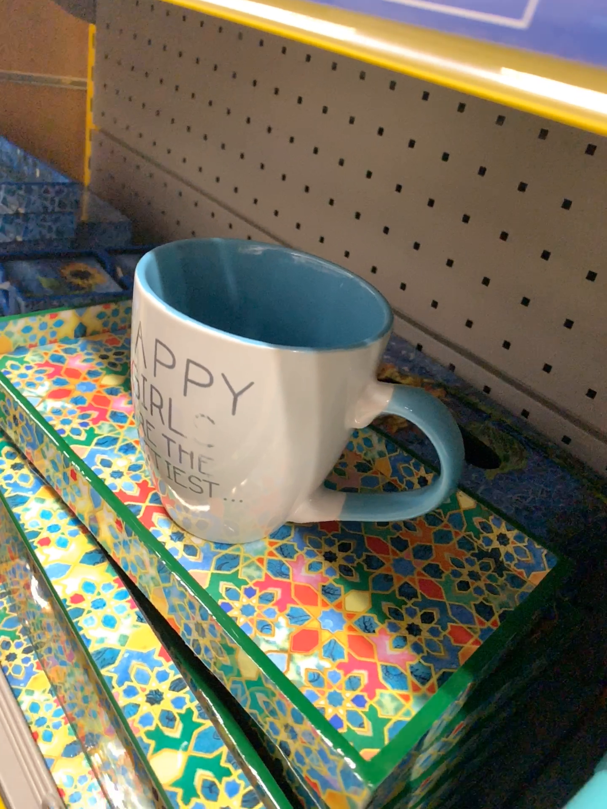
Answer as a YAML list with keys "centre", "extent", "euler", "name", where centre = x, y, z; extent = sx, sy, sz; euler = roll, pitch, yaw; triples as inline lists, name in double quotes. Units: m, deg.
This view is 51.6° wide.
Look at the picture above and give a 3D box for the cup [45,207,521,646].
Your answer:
- centre: [-0.009, -0.008, 0.273]
  extent: [0.150, 0.100, 0.120]
  euler: [26, 31, 19]
  name: "cup"
